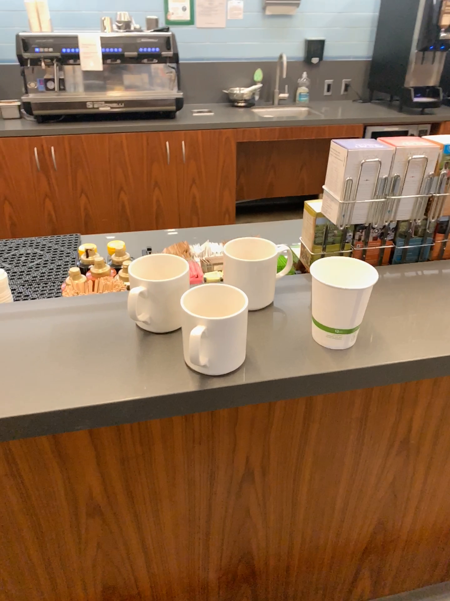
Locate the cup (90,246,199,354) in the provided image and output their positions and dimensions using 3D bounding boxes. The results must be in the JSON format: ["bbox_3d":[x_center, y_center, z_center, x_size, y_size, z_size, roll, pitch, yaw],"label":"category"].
[{"bbox_3d":[-0.101,-0.005,0.615,0.090,0.079,0.121,11,33,17],"label":"cup"}]

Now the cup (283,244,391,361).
[{"bbox_3d":[0.147,-0.002,0.617,0.090,0.099,0.100,26,40,36],"label":"cup"}]

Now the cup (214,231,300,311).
[{"bbox_3d":[0.045,-0.047,0.719,0.120,0.089,0.091,-1,31,-2],"label":"cup"}]

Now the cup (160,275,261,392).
[{"bbox_3d":[-0.014,0.037,0.582,0.090,0.079,0.121,9,33,14],"label":"cup"}]
